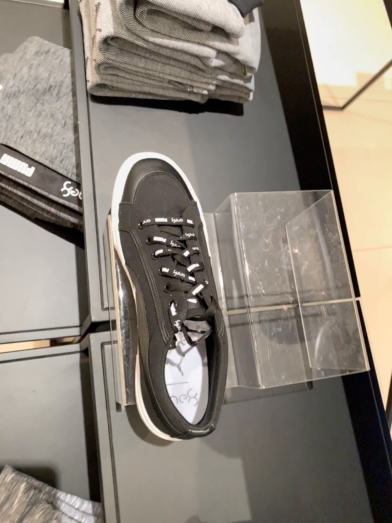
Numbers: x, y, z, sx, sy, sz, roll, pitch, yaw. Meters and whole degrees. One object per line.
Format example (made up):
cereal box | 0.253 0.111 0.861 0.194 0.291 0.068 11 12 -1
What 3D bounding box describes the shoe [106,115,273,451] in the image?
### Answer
shoe | -0.018 0.015 0.395 0.110 0.100 0.280 -2 77 -19
